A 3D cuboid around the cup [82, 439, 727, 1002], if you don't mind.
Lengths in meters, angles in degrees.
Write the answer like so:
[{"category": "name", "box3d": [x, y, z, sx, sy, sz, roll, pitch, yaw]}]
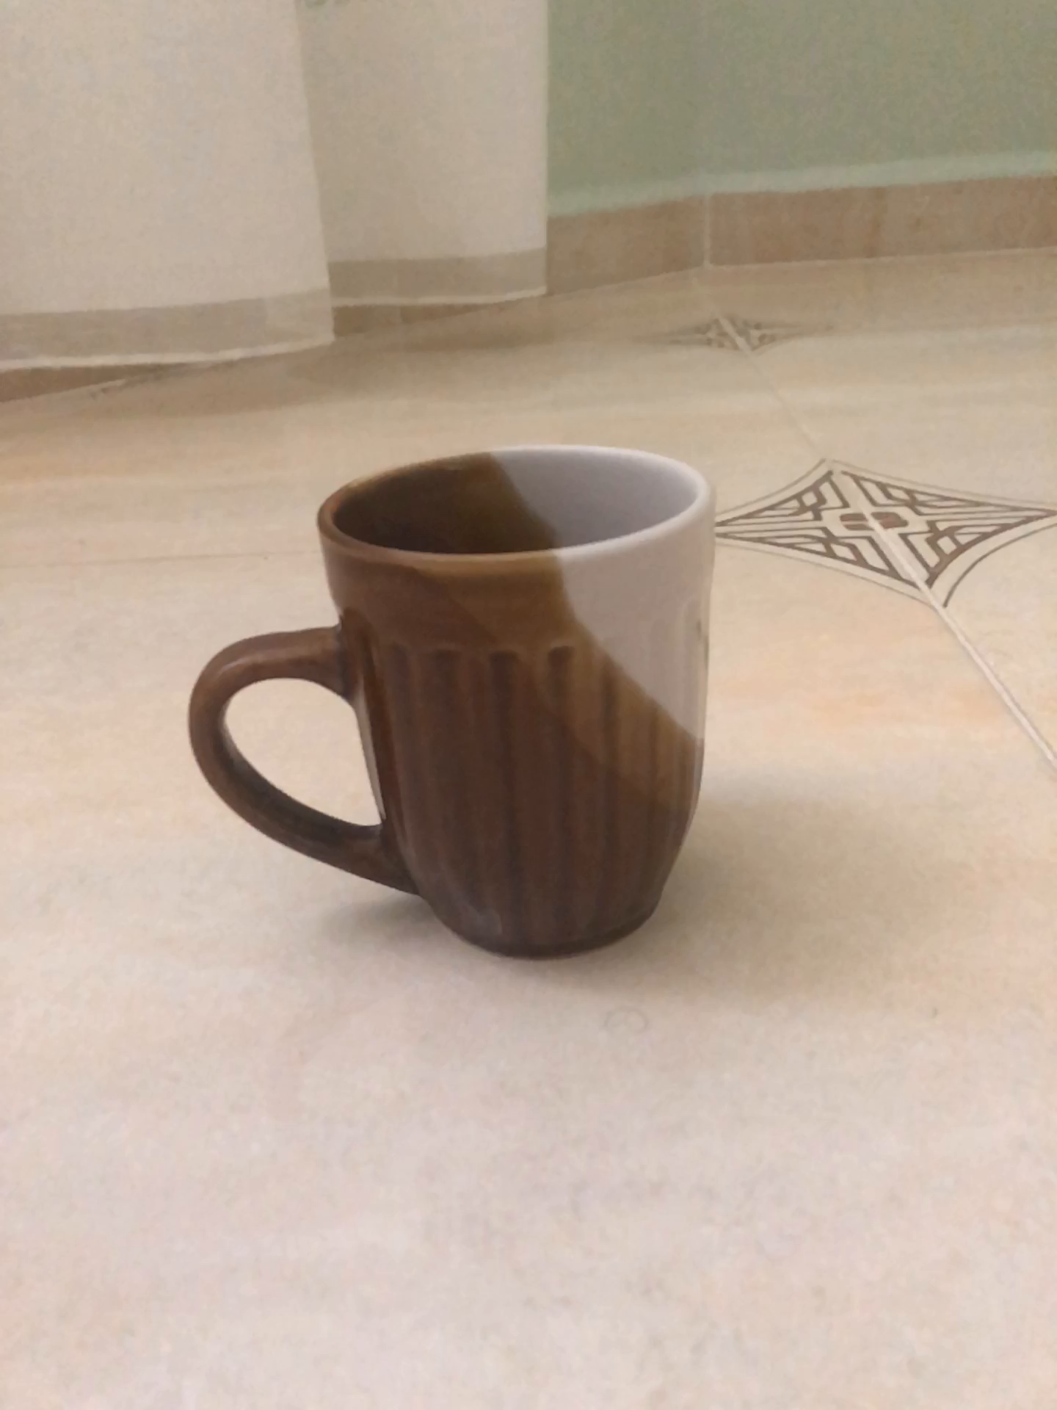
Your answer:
[{"category": "cup", "box3d": [-0.015, 0.000, 0.236, 0.103, 0.086, 0.076, -1, 25, 6]}]
